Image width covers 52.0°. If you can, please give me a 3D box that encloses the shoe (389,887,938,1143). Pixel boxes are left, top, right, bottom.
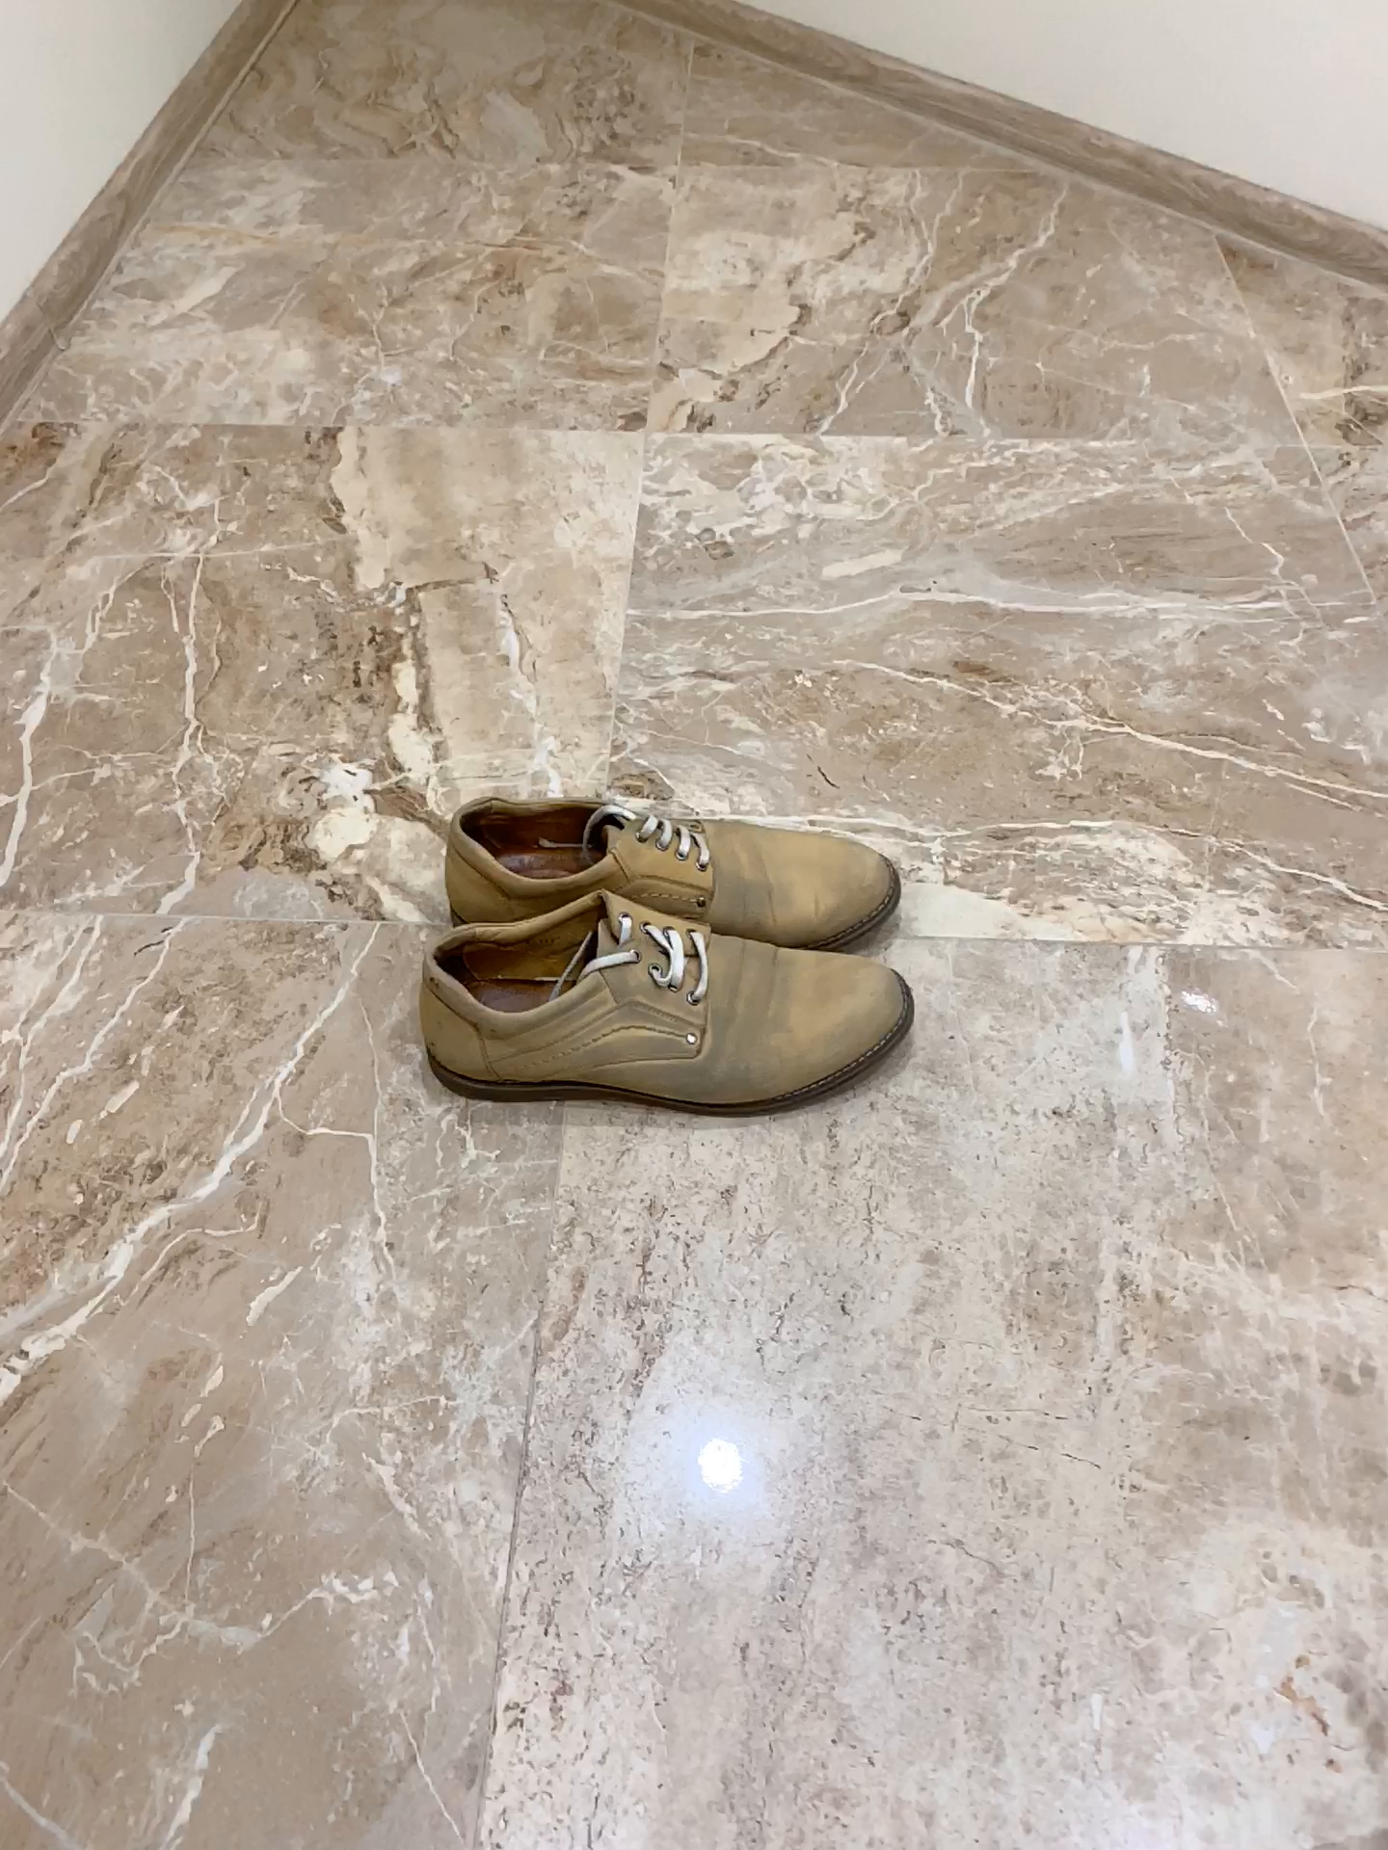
[{"bbox_3d":[-0.015,0.049,0.791,0.280,0.080,0.110,1,49,1],"label":"shoe"}]

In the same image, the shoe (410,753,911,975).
[{"bbox_3d":[-0.018,-0.038,0.857,0.280,0.070,0.110,1,49,1],"label":"shoe"}]
